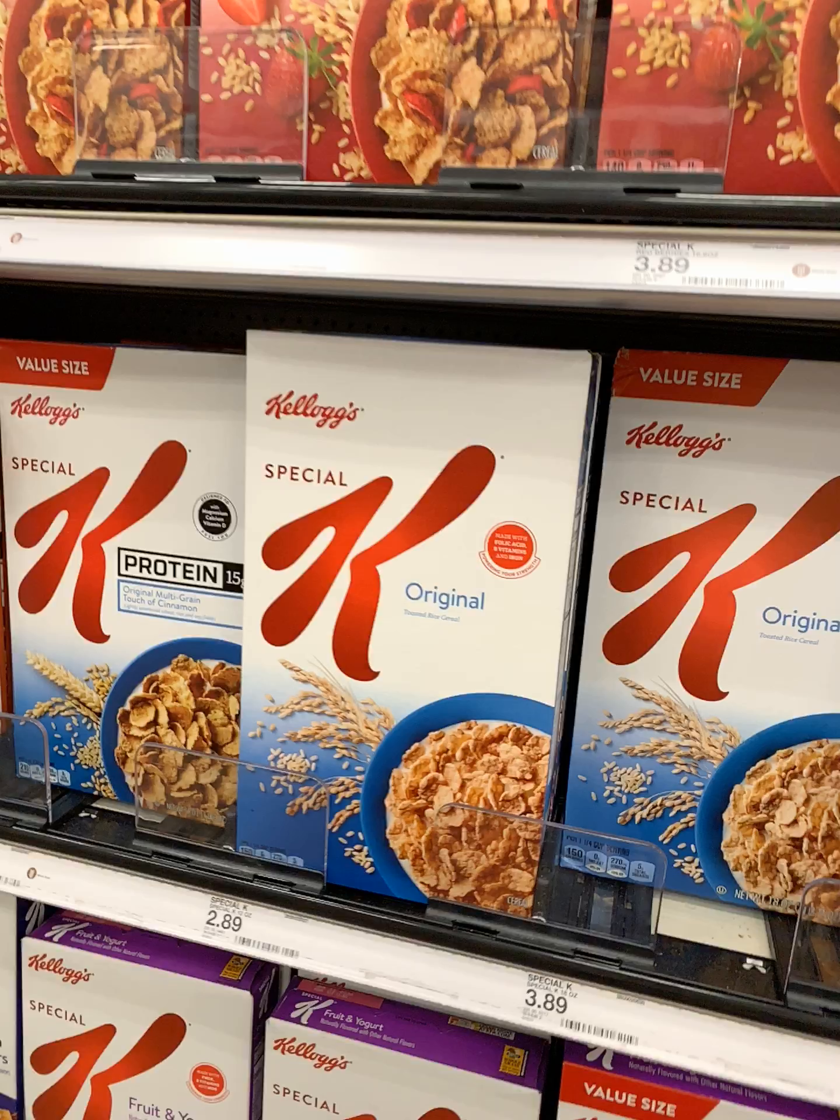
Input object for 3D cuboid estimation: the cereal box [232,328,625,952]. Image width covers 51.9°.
[{"bbox_3d":[-0.001,0.042,0.488,0.190,0.319,0.060,7,13,12],"label":"cereal box"}]
